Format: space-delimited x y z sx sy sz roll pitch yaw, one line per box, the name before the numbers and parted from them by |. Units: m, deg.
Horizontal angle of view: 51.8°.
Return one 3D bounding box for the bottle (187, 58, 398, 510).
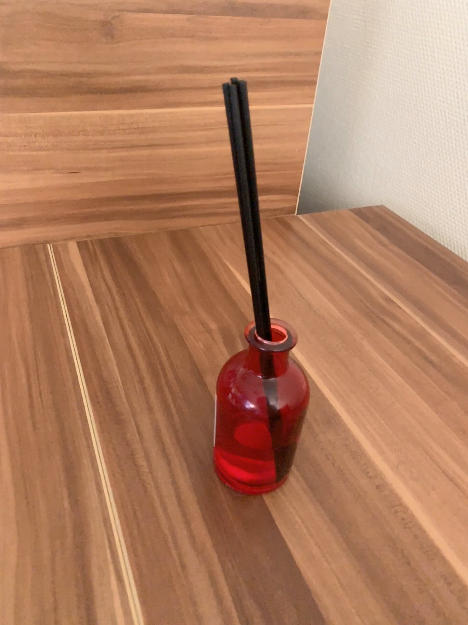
bottle | 0.013 0.006 0.251 0.060 0.239 0.050 -8 38 -17
